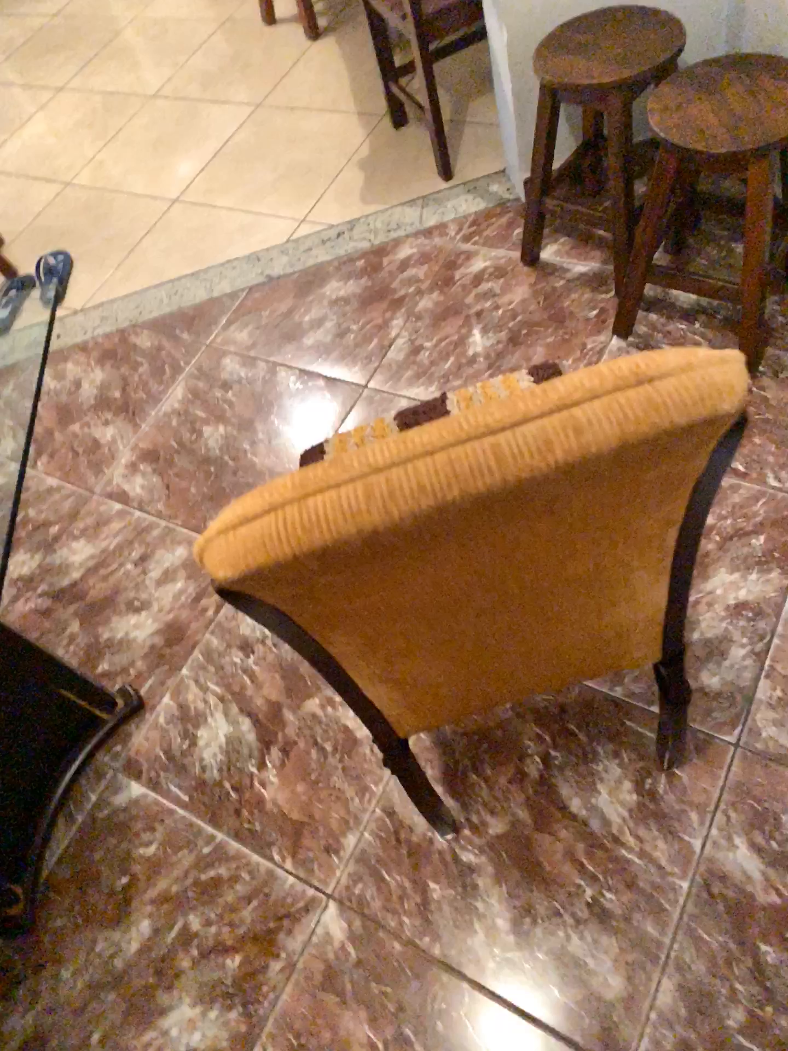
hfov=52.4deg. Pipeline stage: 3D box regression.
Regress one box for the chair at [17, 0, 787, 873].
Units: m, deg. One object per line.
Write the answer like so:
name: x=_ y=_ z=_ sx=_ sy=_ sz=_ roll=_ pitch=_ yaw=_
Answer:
chair: x=0.077 y=-0.029 z=1.026 sx=0.560 sy=0.936 sz=0.602 roll=-19 pitch=55 yaw=4
